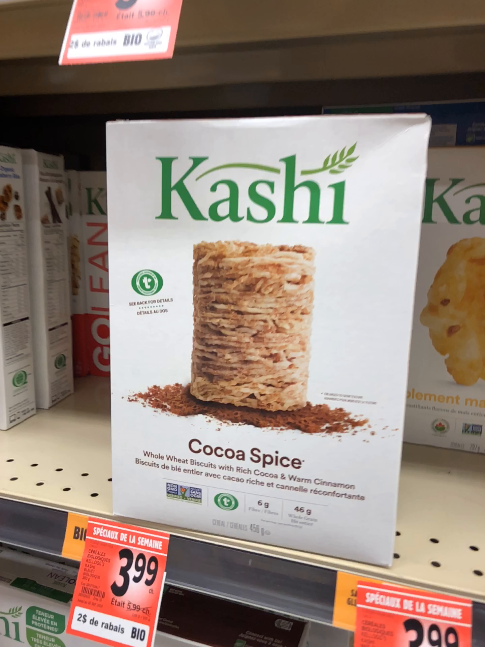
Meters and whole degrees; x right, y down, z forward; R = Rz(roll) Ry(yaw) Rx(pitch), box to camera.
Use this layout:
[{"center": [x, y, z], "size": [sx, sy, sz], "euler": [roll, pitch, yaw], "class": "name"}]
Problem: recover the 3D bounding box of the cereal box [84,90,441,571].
[{"center": [0.008, 0.002, 0.361], "size": [0.210, 0.279, 0.060], "euler": [4, 11, 15], "class": "cereal box"}]
